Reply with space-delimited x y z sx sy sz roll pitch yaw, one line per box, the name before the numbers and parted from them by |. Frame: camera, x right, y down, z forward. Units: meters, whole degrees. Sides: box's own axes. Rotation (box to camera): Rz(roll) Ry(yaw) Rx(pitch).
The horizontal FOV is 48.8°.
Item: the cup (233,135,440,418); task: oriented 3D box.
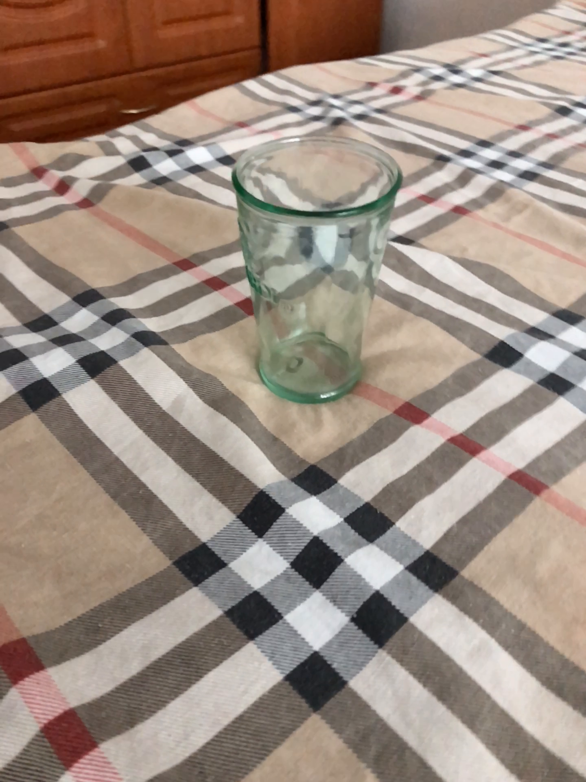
cup | 0.013 -0.058 0.329 0.082 0.112 0.086 2 41 -2
